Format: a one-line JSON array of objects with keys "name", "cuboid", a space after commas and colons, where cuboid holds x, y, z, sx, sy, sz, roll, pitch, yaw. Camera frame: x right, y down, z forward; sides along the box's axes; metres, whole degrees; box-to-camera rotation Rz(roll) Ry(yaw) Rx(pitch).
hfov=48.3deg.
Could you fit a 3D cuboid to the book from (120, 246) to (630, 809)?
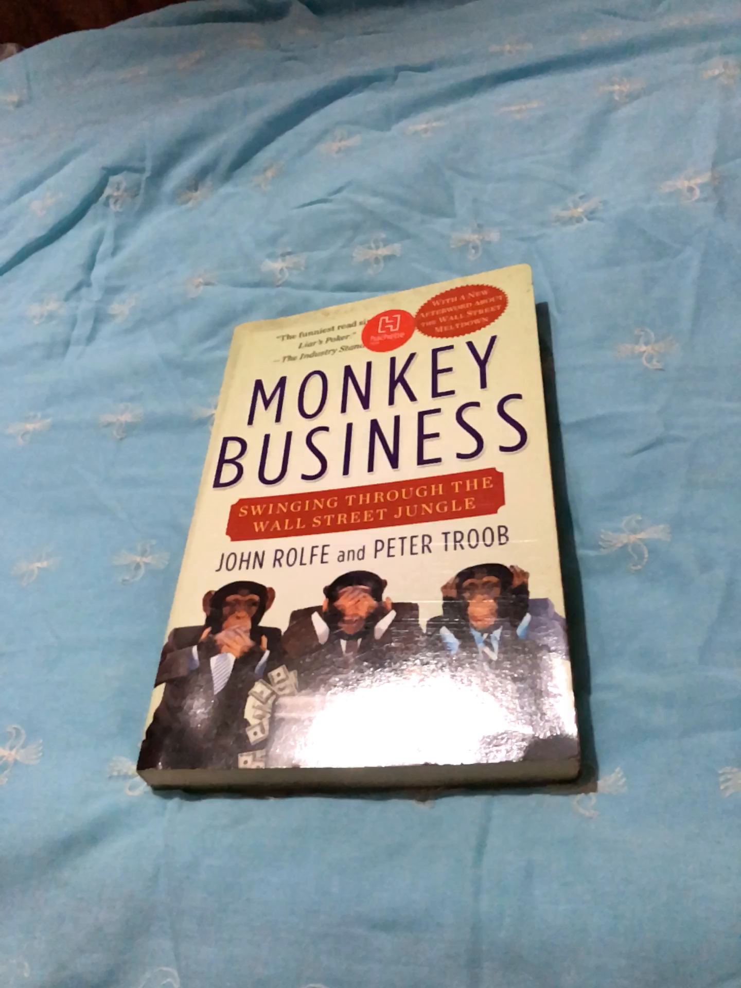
[{"name": "book", "cuboid": [0.006, 0.003, 0.353, 0.170, 0.040, 0.241, -7, 53, 14]}]
